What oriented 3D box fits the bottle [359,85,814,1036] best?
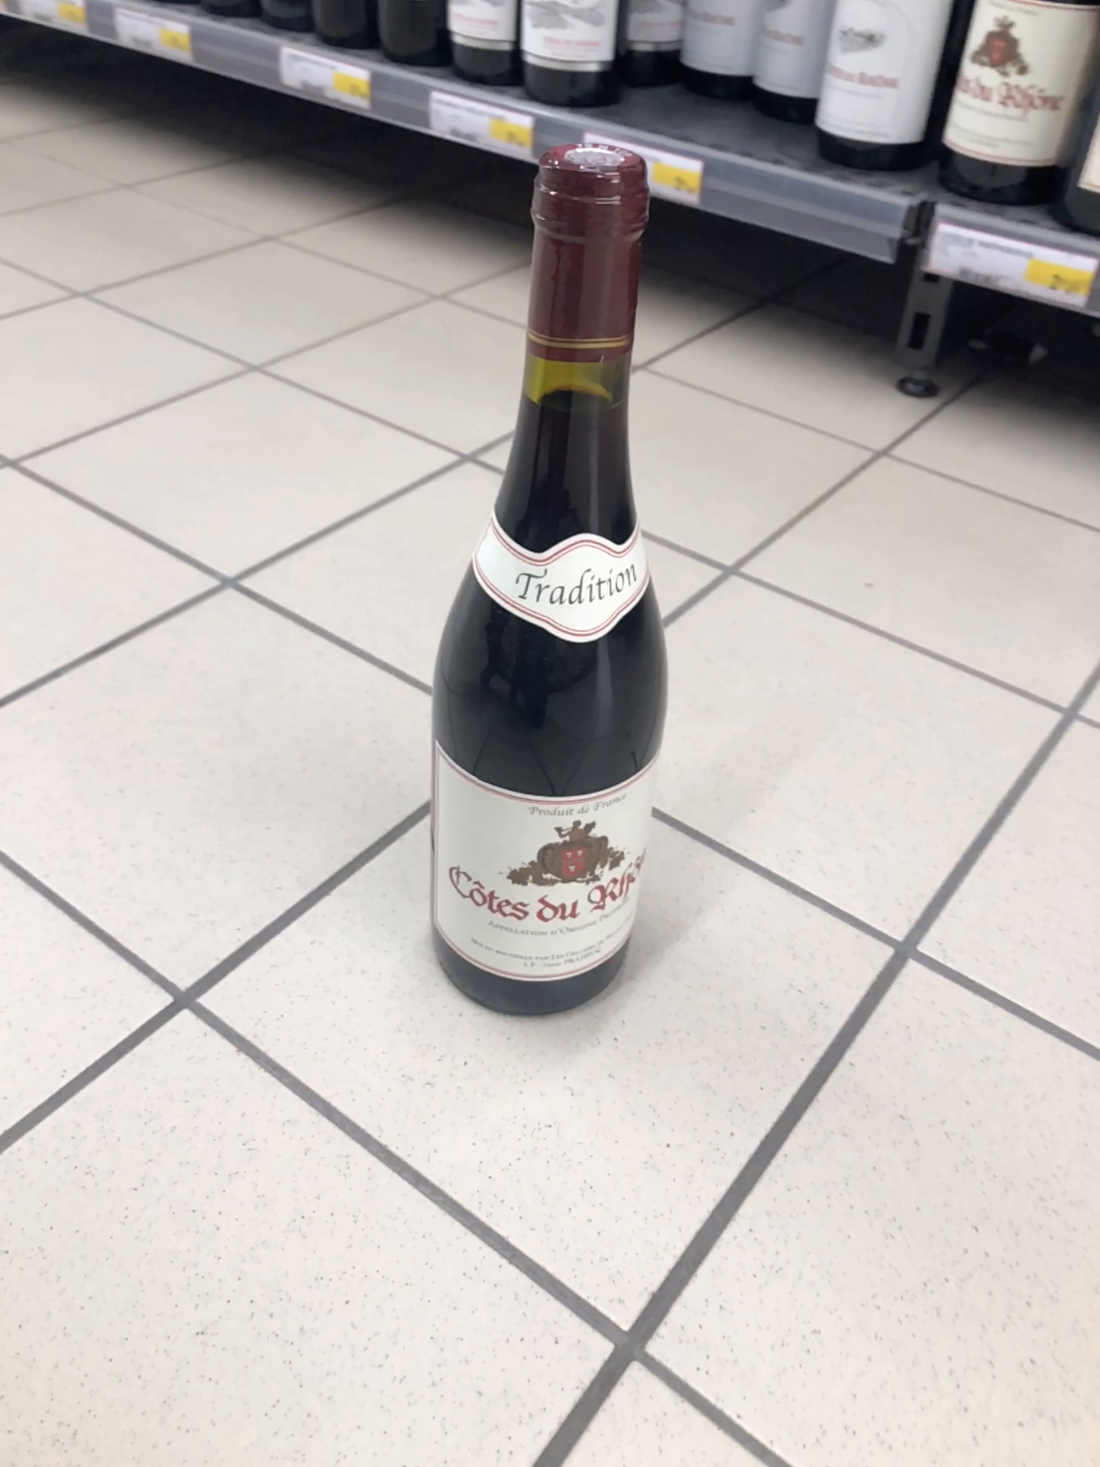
[{"bbox_3d":[-0.003,-0.038,0.391,0.090,0.288,0.090,3,39,-2],"label":"bottle"}]
